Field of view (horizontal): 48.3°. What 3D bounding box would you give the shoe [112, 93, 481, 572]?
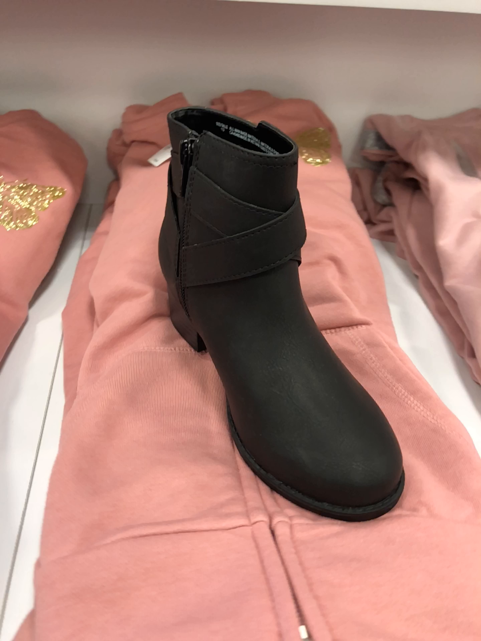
[{"bbox_3d":[0.018,-0.011,0.269,0.080,0.129,0.201,-20,46,-26],"label":"shoe"}]
